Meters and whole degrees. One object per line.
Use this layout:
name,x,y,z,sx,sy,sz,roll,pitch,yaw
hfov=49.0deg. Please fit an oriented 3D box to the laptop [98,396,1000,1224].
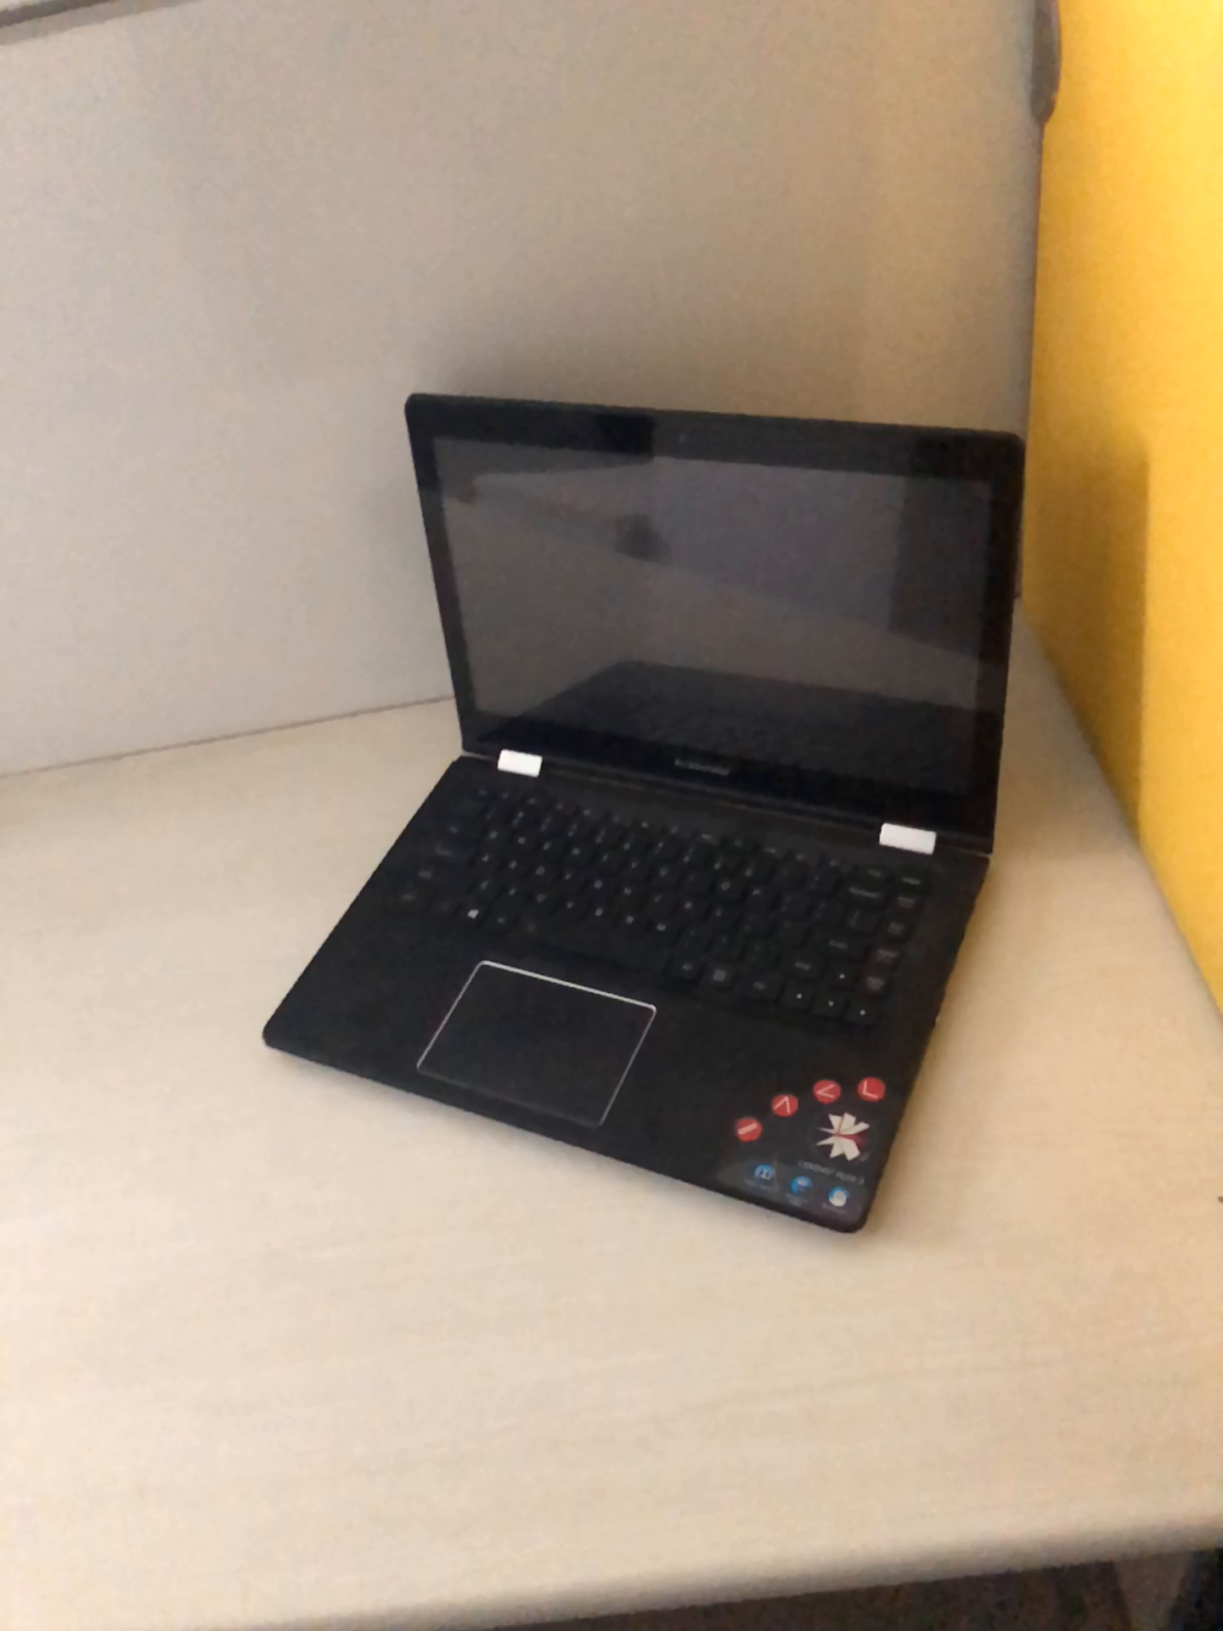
laptop,-0.002,-0.023,0.651,0.311,0.225,0.264,13,50,24
